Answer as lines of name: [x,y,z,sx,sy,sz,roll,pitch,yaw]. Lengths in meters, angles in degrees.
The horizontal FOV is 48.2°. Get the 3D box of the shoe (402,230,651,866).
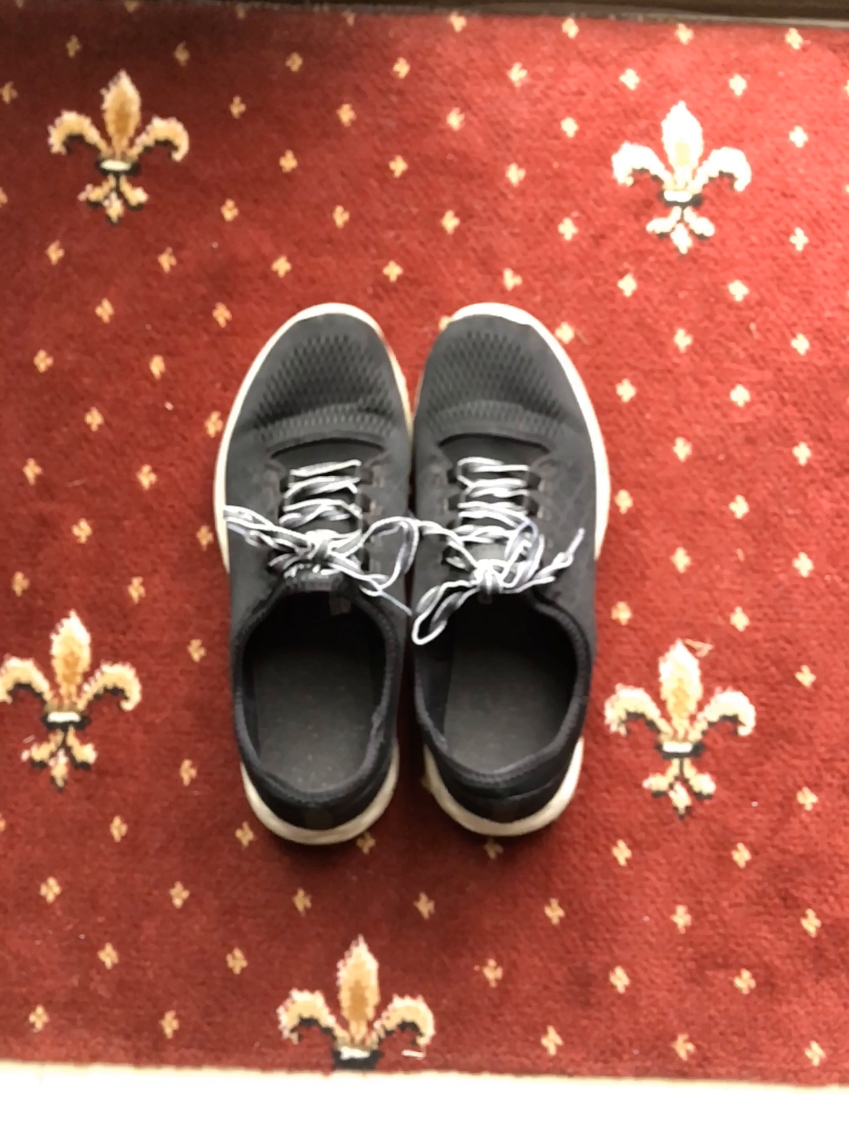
shoe: [0.045,-0.006,0.457,0.100,0.110,0.270,2,81,0]

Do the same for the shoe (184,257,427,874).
shoe: [-0.050,0.001,0.466,0.100,0.110,0.270,0,81,0]
